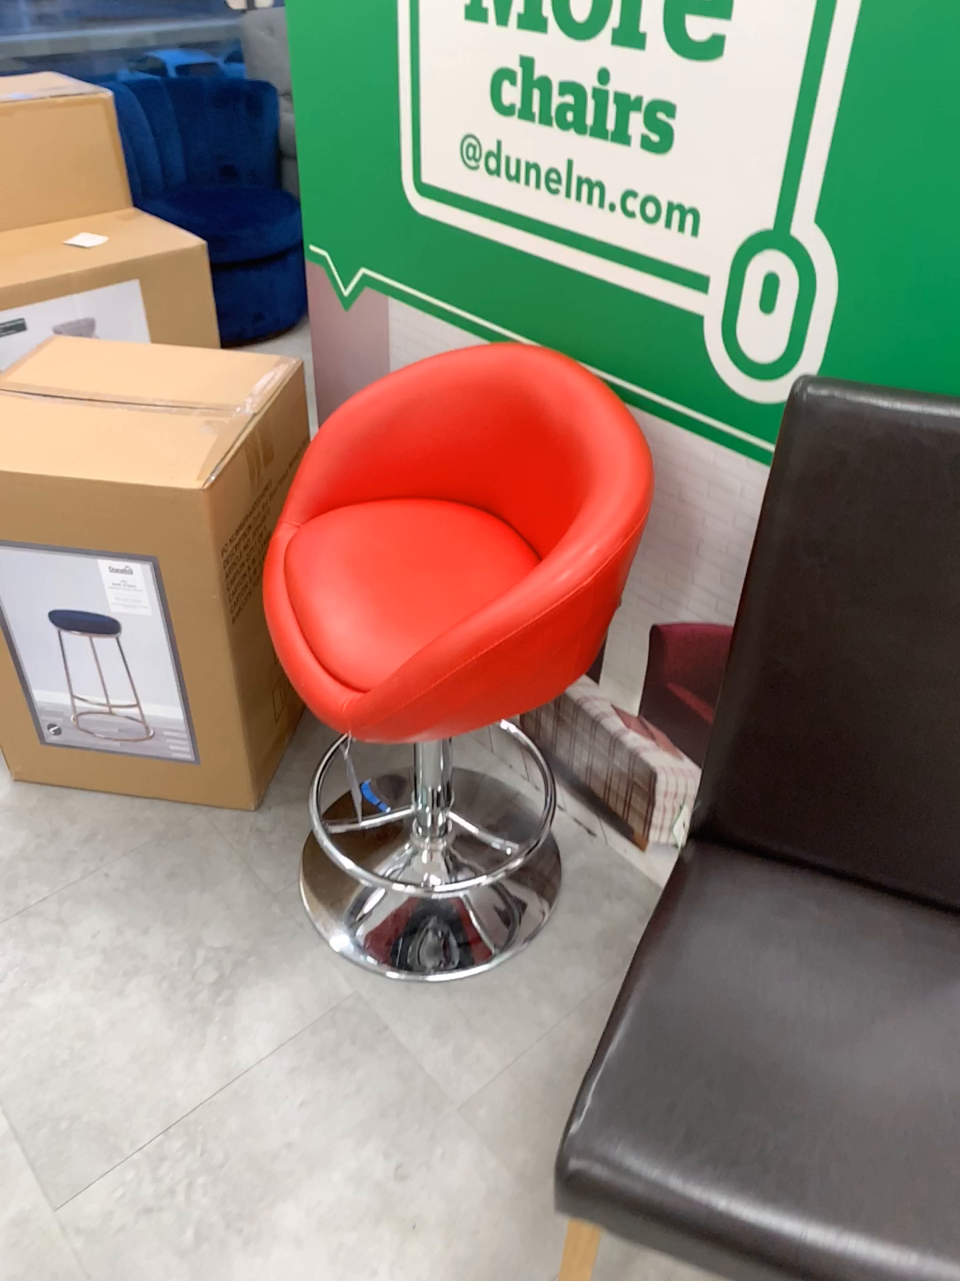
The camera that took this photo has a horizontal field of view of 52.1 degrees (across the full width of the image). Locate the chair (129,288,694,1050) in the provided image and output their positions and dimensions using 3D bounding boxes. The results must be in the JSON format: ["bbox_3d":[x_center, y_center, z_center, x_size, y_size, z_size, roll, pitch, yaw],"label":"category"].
[{"bbox_3d":[-0.114,0.029,1.275,0.477,0.761,0.499,-12,39,-16],"label":"chair"}]

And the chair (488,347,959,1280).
[{"bbox_3d":[0.319,0.312,0.872,0.445,0.919,0.521,14,39,16],"label":"chair"}]
